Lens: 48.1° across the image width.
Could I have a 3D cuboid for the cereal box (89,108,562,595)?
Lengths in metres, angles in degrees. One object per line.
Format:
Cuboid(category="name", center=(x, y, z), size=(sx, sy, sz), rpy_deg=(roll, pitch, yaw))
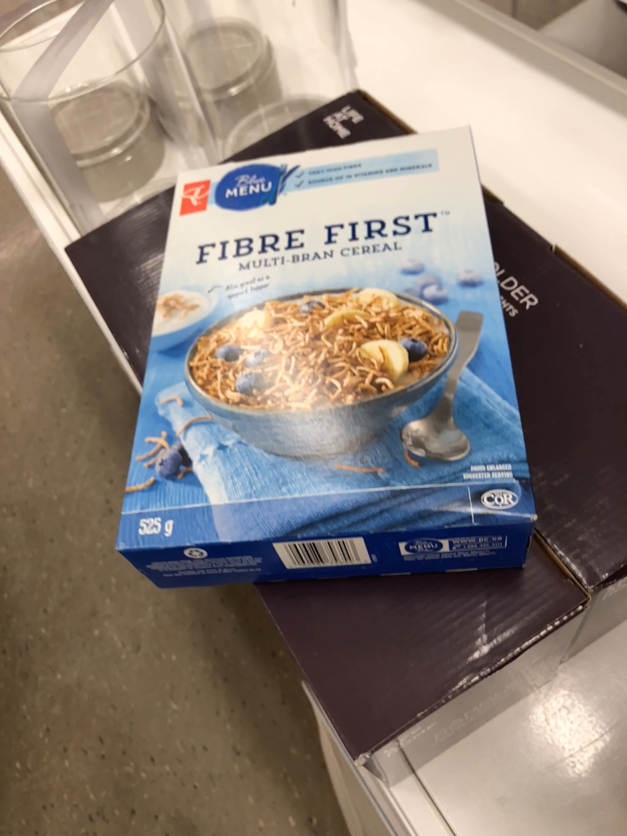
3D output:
Cuboid(category="cereal box", center=(0.005, -0.045, 0.385), size=(0.200, 0.060, 0.261), rpy_deg=(-5, 59, 9))
